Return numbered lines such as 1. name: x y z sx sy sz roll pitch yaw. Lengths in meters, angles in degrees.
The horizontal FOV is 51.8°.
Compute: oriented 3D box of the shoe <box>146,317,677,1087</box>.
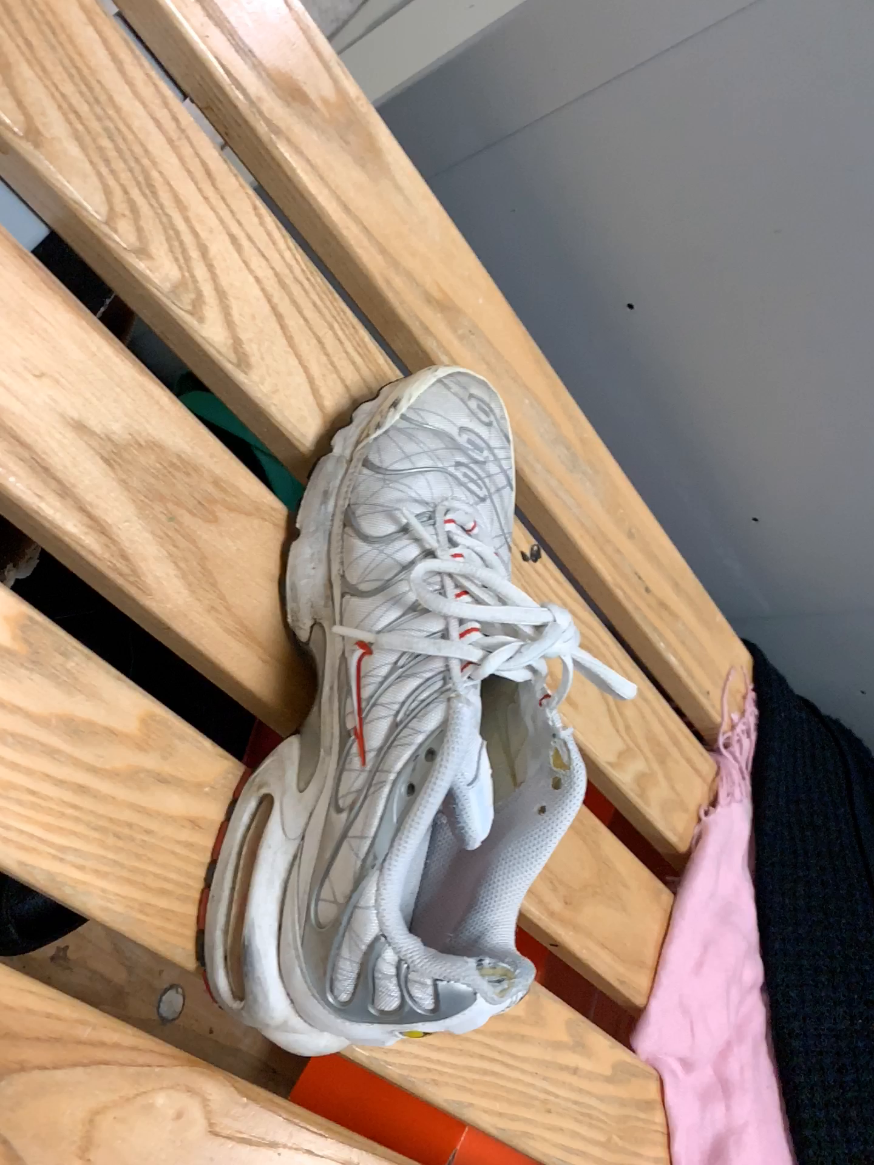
1. shoe: 0.001 0.040 0.326 0.101 0.105 0.227 31 63 -40
